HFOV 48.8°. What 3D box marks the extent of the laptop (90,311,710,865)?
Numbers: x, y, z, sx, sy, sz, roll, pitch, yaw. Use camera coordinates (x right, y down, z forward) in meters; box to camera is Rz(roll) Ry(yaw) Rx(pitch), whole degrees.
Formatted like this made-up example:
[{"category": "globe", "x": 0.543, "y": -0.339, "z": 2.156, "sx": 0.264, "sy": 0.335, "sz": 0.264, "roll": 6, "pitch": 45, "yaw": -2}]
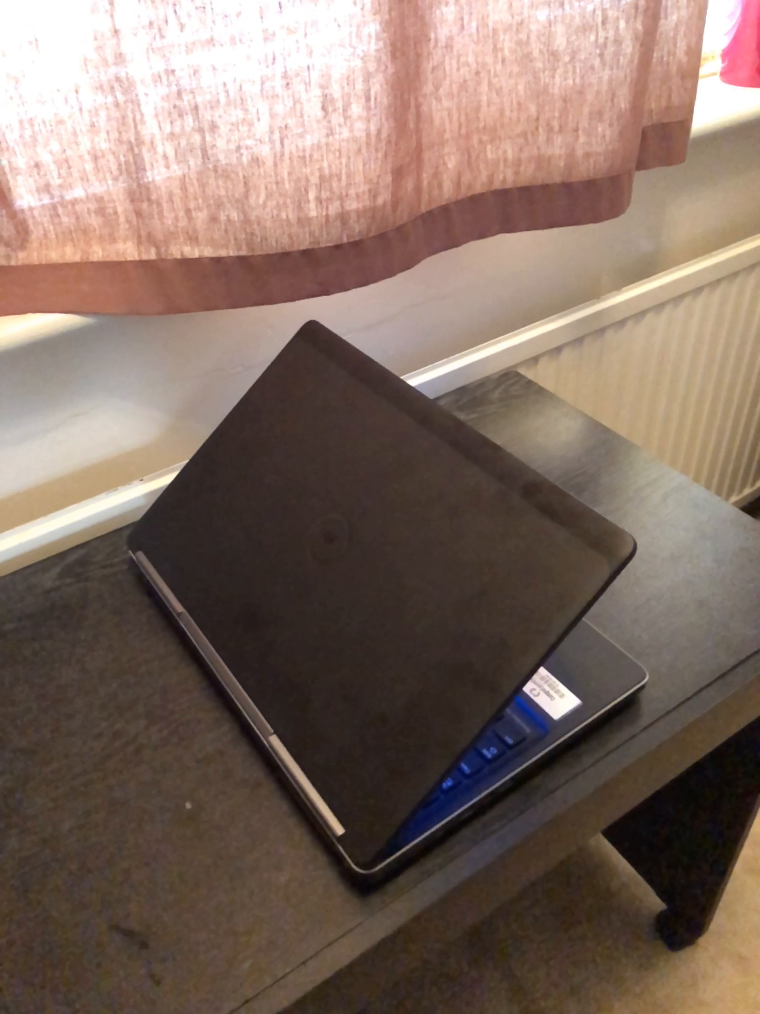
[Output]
[{"category": "laptop", "x": -0.010, "y": 0.018, "z": 0.605, "sx": 0.243, "sy": 0.134, "sz": 0.364, "roll": -25, "pitch": 44, "yaw": -24}]
